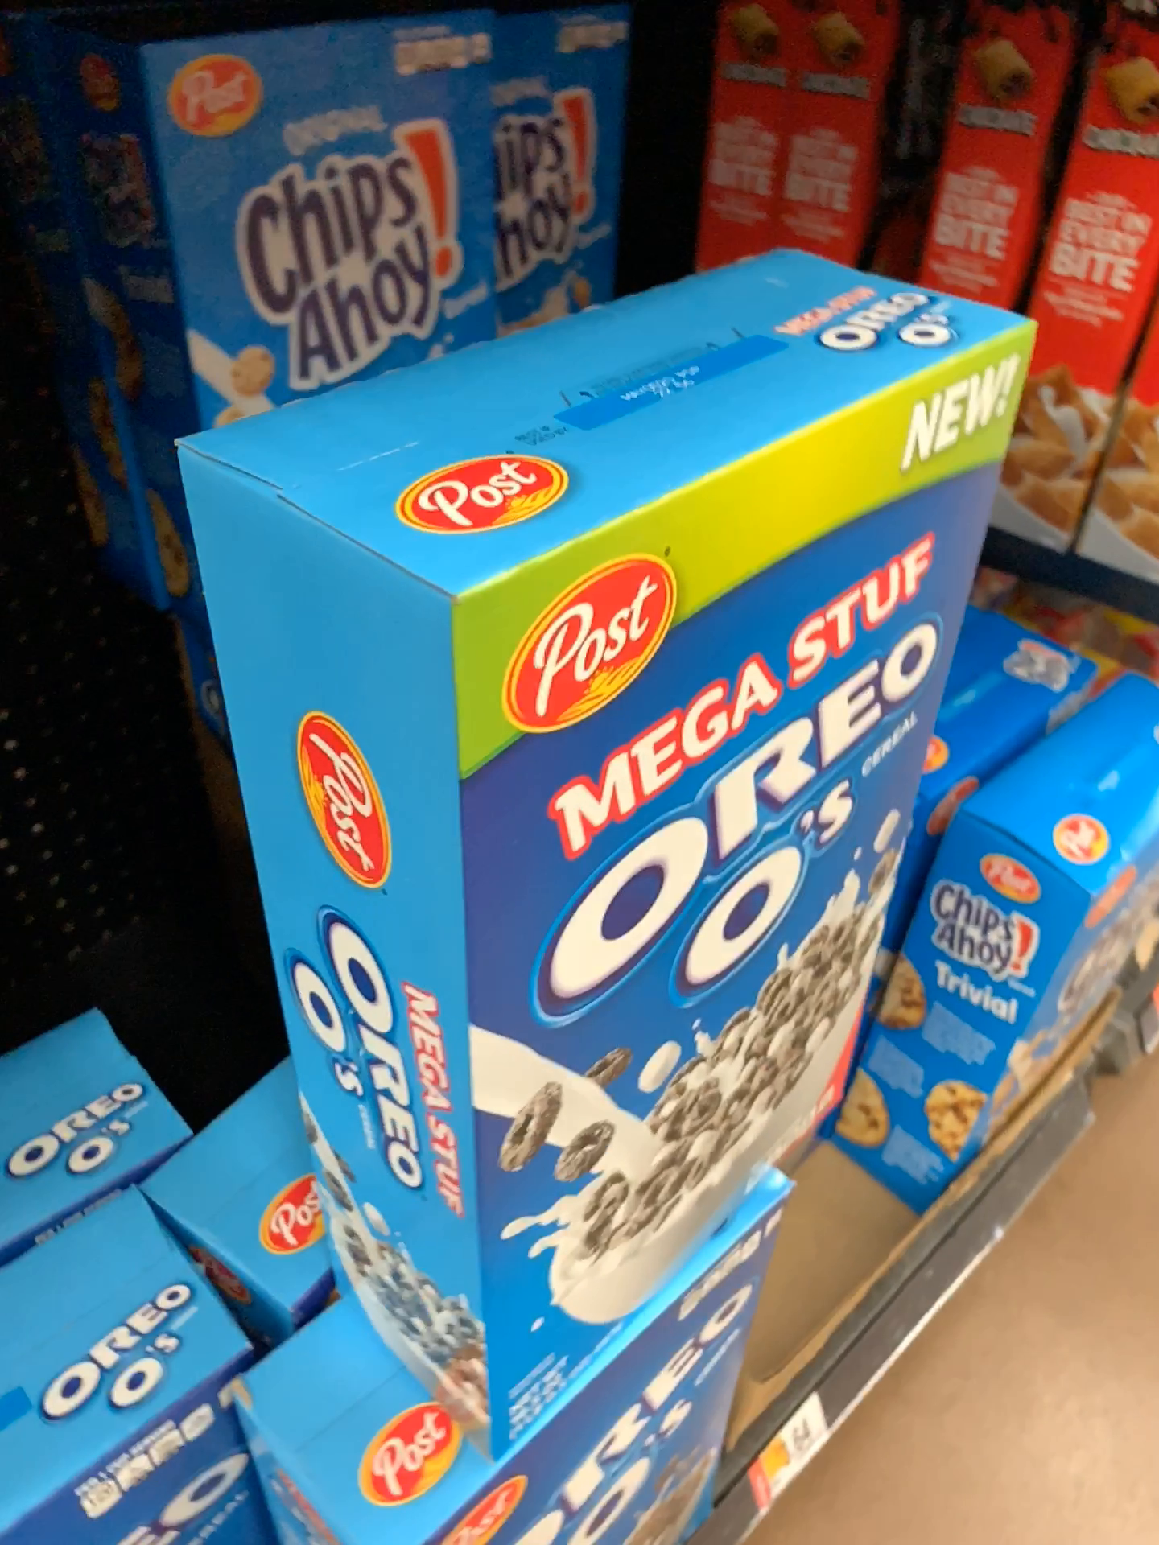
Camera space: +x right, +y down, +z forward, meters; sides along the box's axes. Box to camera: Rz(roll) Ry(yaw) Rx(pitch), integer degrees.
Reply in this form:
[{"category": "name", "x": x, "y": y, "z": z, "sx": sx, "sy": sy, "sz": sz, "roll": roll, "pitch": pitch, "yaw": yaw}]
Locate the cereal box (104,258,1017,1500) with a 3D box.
[{"category": "cereal box", "x": 0.008, "y": 0.035, "z": 0.347, "sx": 0.080, "sy": 0.298, "sz": 0.201, "roll": 29, "pitch": 45, "yaw": 32}]
